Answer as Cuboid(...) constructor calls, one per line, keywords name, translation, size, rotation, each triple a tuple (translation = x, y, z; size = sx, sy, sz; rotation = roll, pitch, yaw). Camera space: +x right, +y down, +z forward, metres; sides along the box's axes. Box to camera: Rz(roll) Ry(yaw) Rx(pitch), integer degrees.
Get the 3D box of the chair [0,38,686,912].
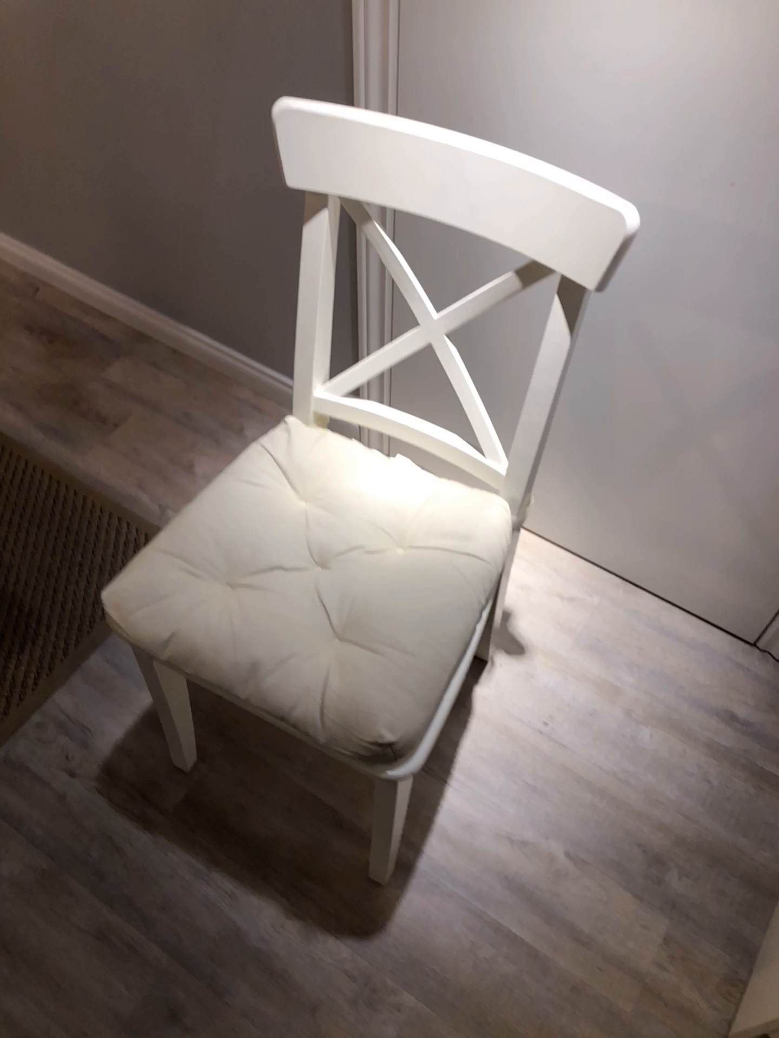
Cuboid(name="chair", translation=(-0.057, 0.025, 1.044), size=(0.451, 0.875, 0.512), rotation=(23, 56, 15))
